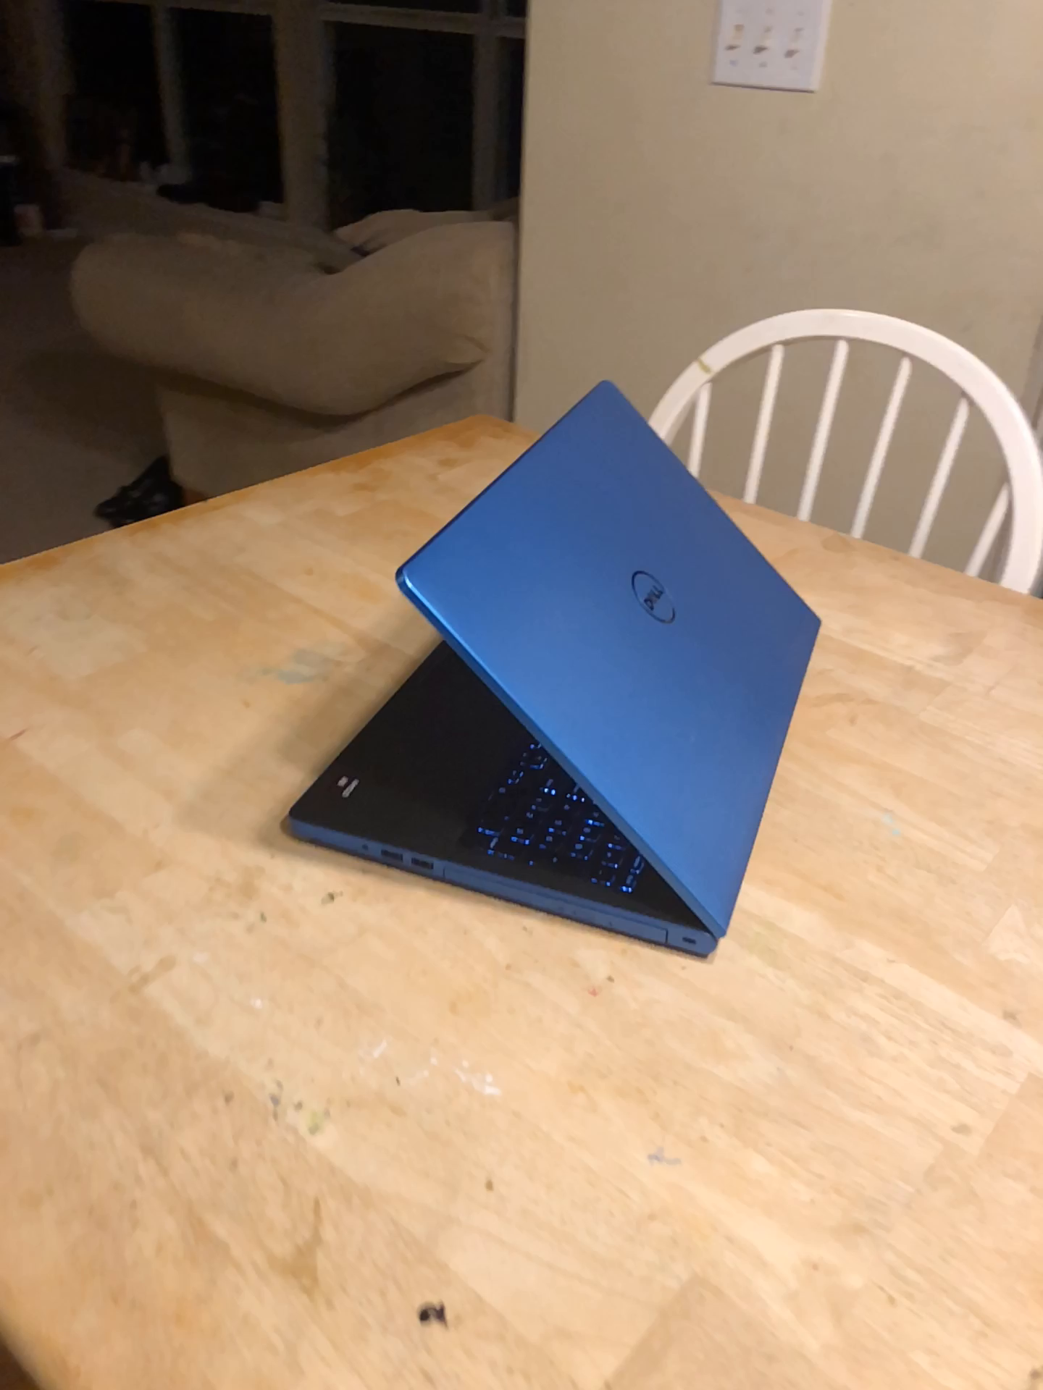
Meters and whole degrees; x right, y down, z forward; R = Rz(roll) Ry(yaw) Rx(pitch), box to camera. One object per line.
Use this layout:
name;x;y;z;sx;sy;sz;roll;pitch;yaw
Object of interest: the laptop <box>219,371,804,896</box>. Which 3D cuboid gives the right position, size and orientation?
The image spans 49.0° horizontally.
laptop;0.020;-0.071;0.740;0.248;0.159;0.363;11;32;15
